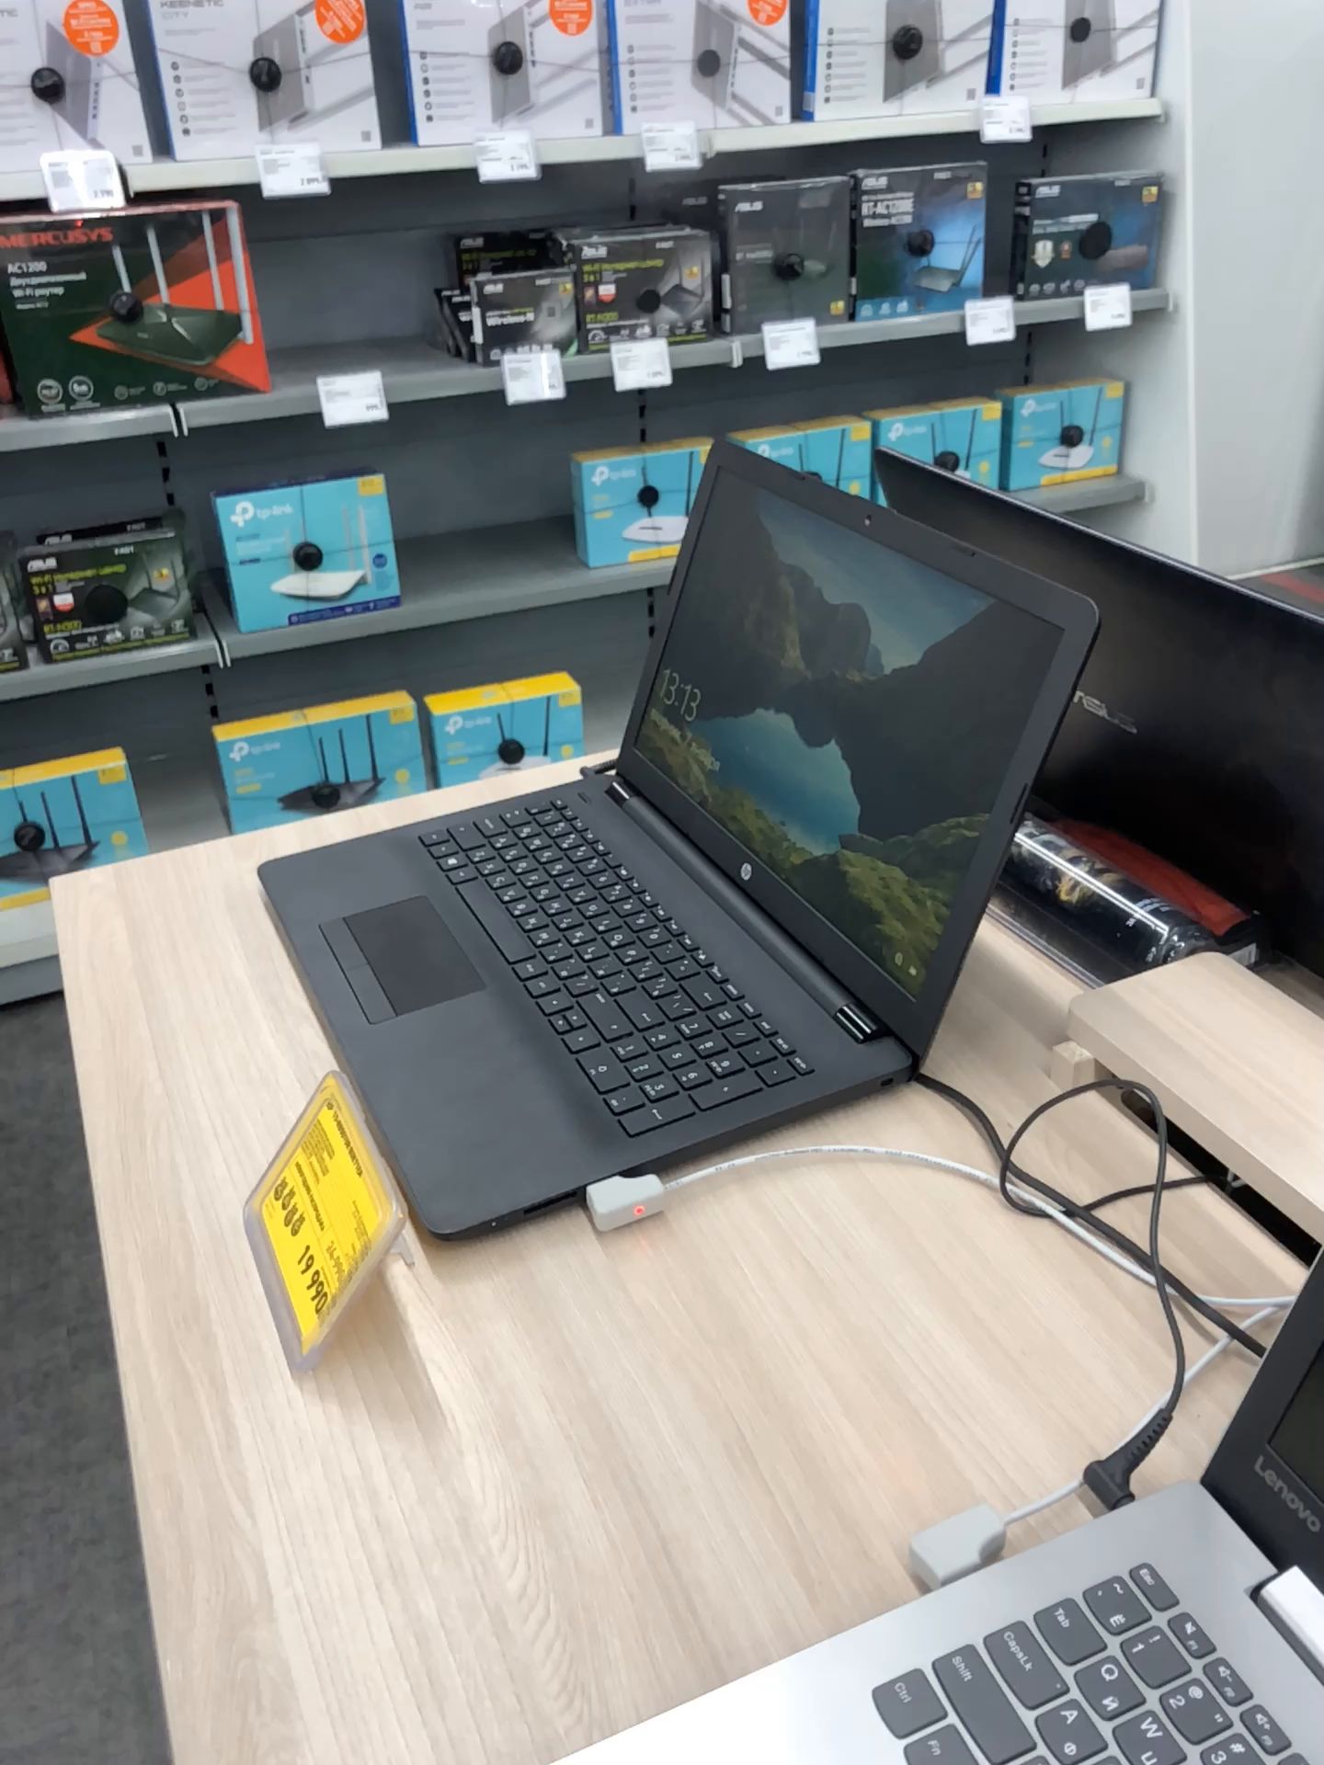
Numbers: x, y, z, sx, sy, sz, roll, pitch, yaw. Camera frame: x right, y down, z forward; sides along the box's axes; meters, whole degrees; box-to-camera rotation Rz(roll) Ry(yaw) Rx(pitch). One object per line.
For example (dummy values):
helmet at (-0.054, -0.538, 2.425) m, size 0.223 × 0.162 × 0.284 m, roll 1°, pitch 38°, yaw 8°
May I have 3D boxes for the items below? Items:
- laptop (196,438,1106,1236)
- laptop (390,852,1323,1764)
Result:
laptop at (-0.031, -0.067, 0.791) m, size 0.341 × 0.217 × 0.378 m, roll -15°, pitch 32°, yaw -19°
laptop at (0.170, 0.208, 0.264) m, size 0.339 × 0.226 × 0.372 m, roll -14°, pitch 30°, yaw -16°
